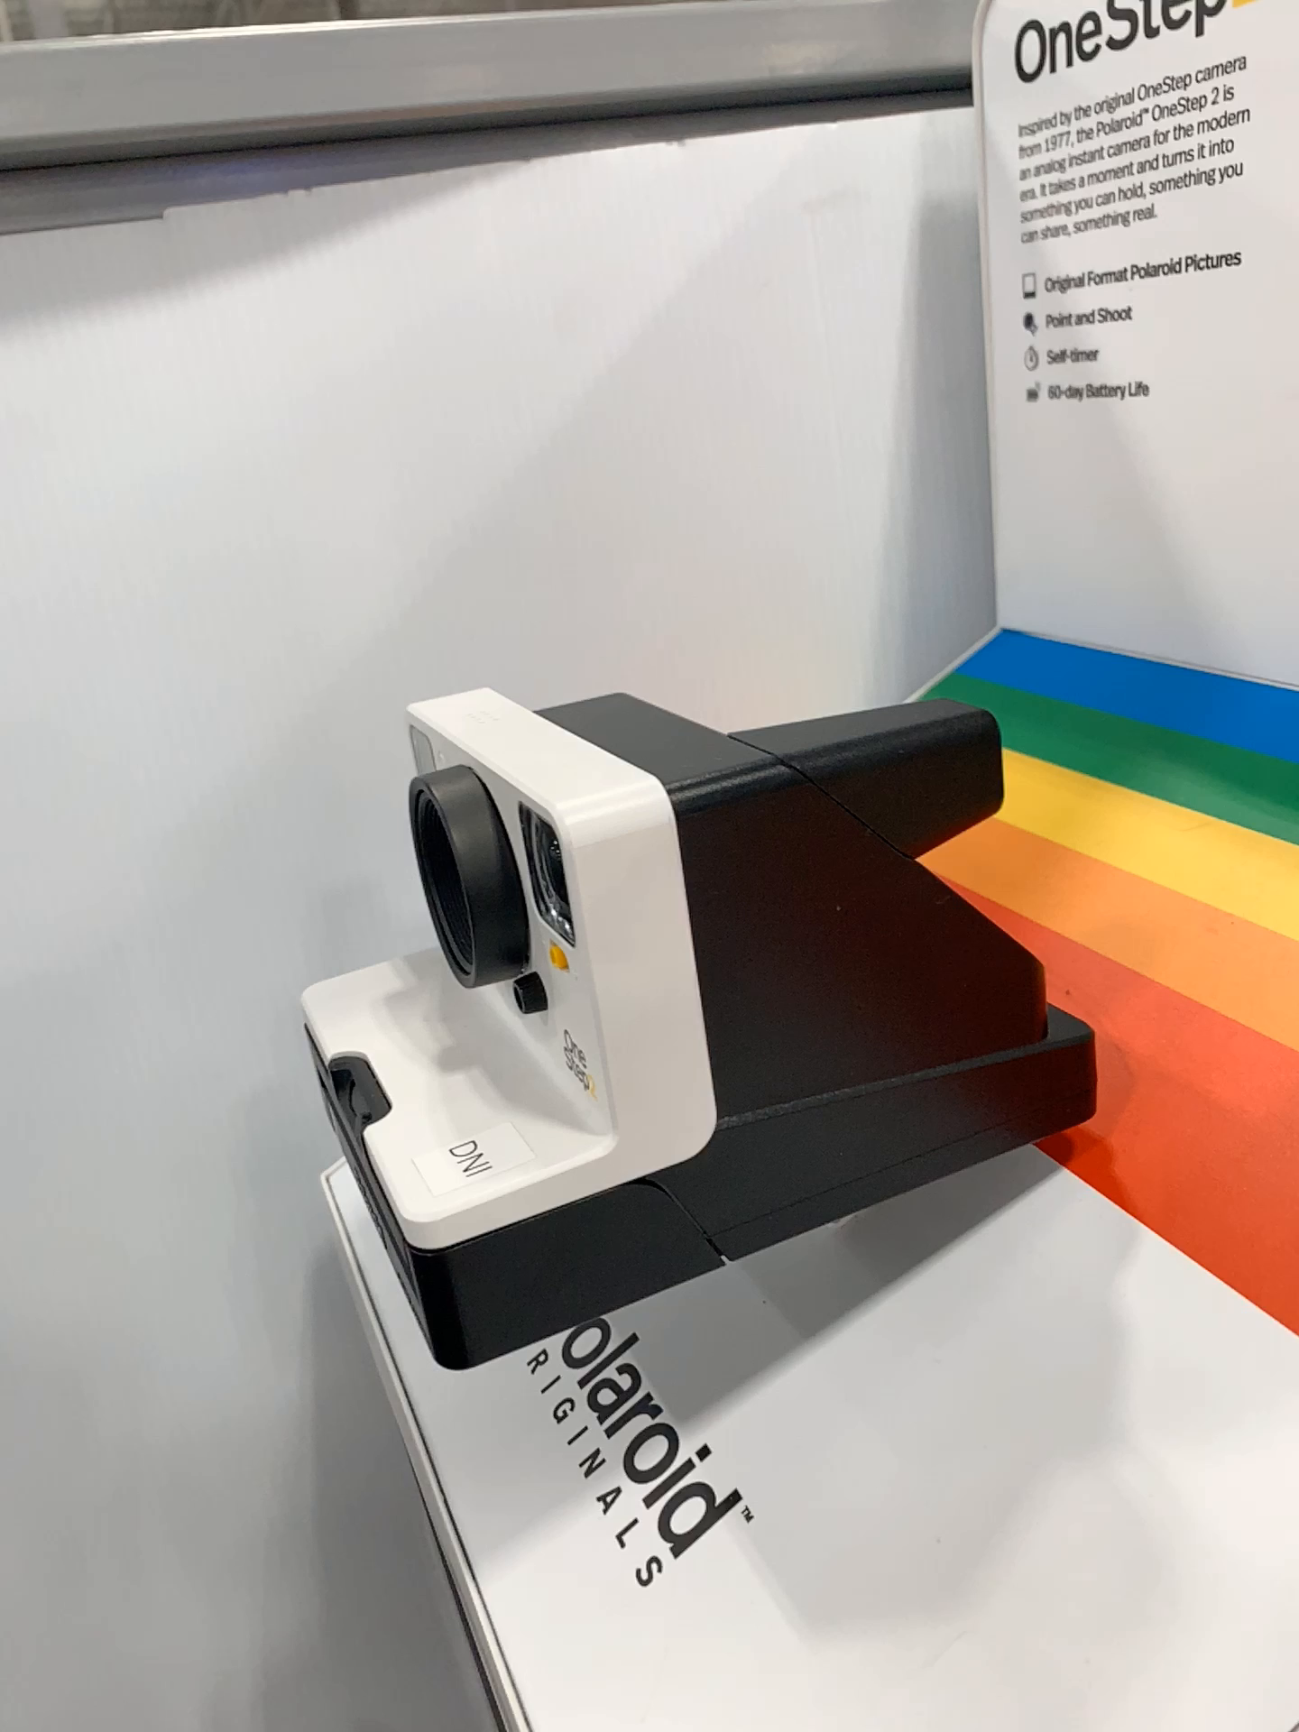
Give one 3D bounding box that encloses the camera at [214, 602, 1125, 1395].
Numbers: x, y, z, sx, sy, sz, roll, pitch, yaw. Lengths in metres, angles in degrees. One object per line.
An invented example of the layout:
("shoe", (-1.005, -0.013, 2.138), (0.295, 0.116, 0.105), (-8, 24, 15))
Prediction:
("camera", (0.000, 0.010, 0.283), (0.144, 0.090, 0.121), (-16, 22, -19))
